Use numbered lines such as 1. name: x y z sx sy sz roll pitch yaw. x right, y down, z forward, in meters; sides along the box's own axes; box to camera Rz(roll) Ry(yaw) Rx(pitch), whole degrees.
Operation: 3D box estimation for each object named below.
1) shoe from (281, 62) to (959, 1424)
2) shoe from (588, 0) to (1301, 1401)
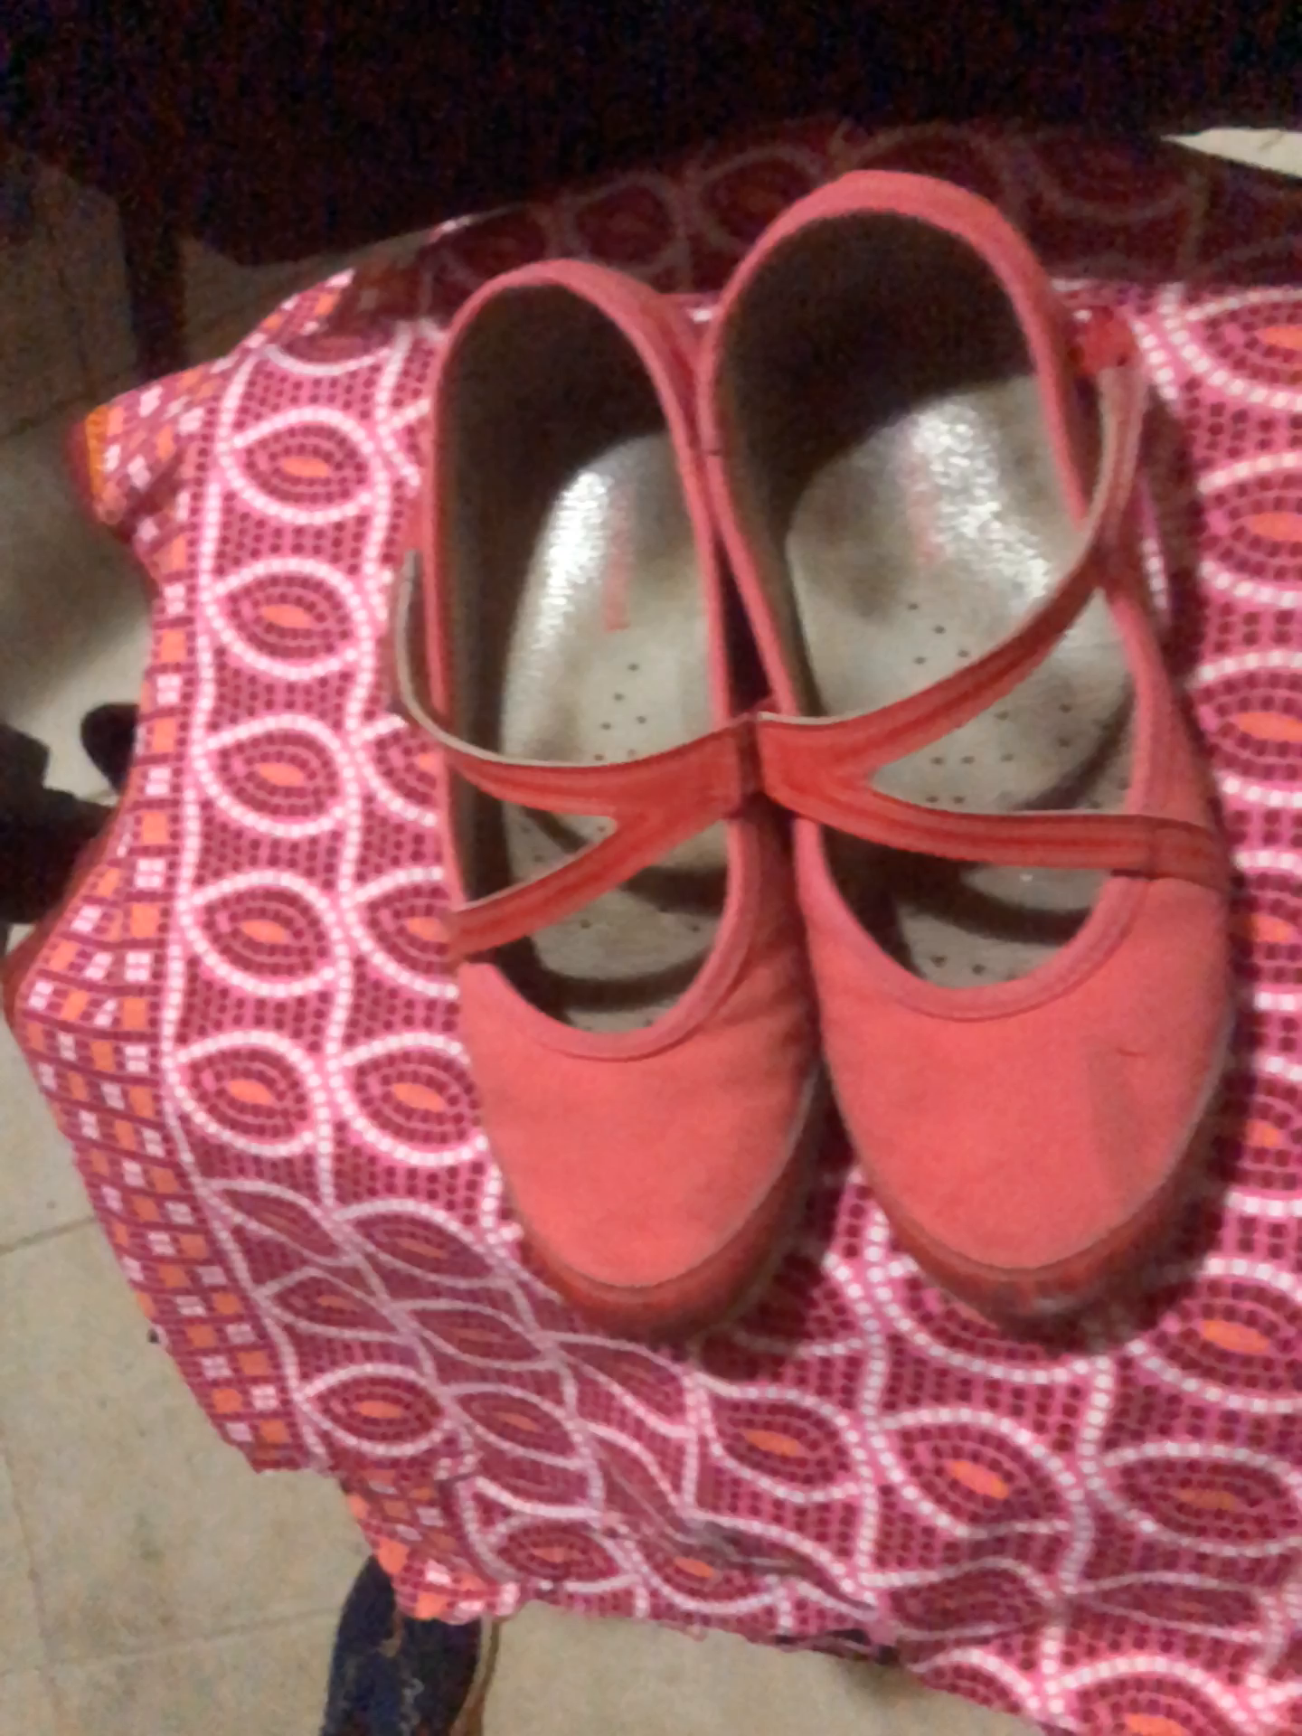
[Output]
1. shoe: -0.005 -0.023 0.370 0.110 0.100 0.290 -9 84 20
2. shoe: 0.074 -0.037 0.363 0.110 0.100 0.300 -10 84 20
